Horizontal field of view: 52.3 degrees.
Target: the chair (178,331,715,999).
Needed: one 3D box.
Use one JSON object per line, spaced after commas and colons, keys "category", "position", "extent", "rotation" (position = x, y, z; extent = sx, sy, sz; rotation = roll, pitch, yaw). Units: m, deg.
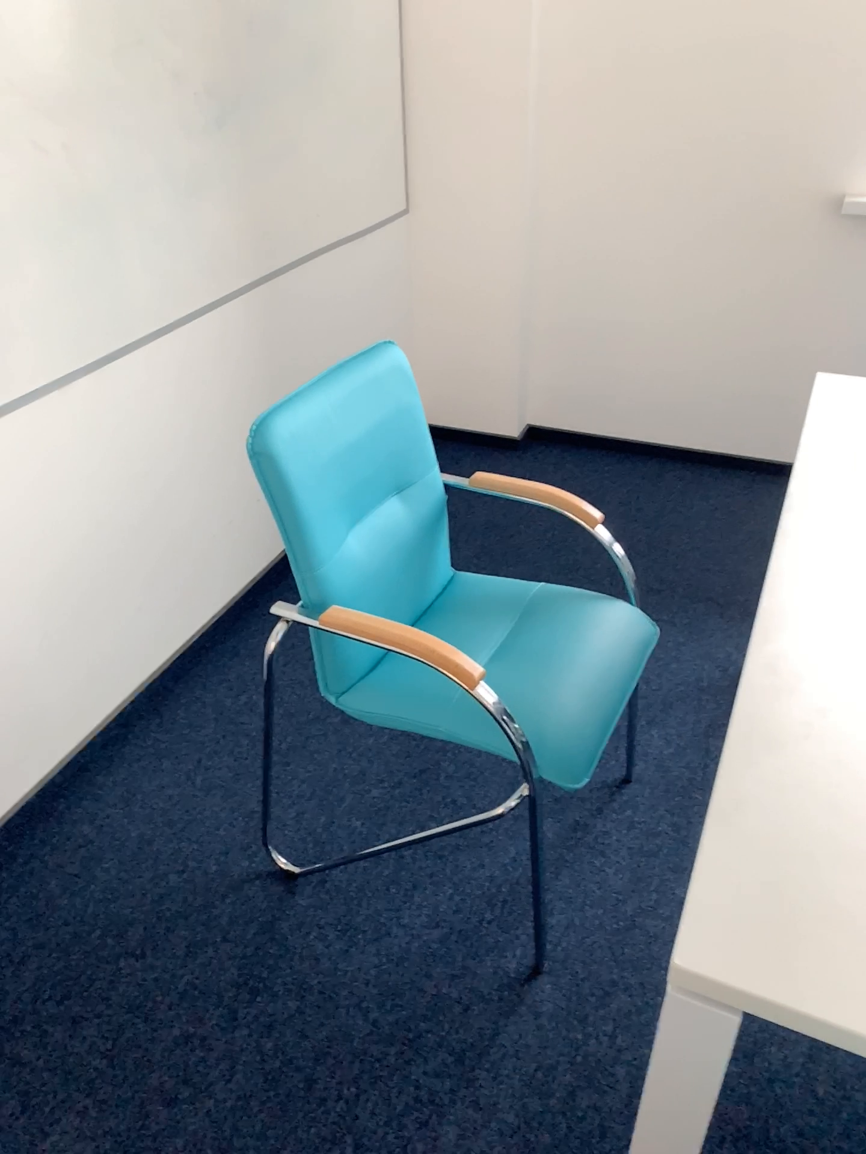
{"category": "chair", "position": [0.057, 0.130, 1.634], "extent": [0.651, 0.925, 0.583], "rotation": [15, 37, 23]}
